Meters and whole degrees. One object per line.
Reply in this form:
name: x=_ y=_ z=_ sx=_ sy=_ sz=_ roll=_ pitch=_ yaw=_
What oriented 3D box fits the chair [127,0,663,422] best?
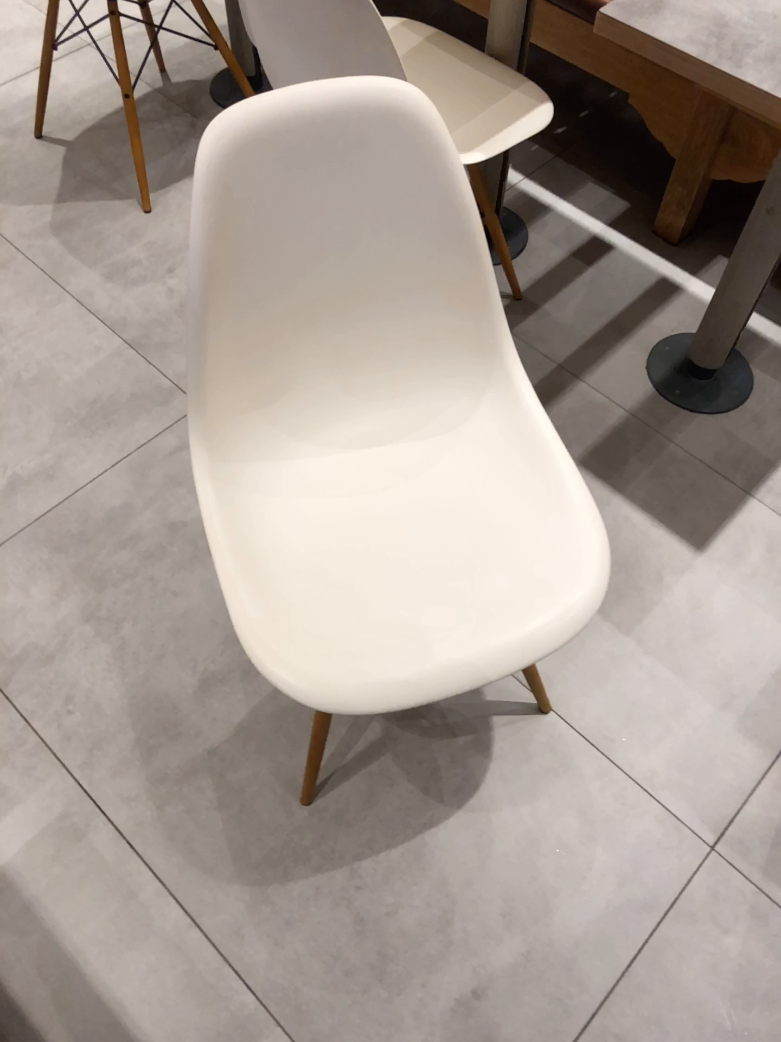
chair: x=-0.004 y=-0.719 z=1.535 sx=0.562 sy=0.770 sz=0.513 roll=40 pitch=65 yaw=21

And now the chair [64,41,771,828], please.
chair: x=-0.022 y=-0.046 z=1.106 sx=0.471 sy=0.780 sz=0.554 roll=-17 pitch=60 yaw=-12
